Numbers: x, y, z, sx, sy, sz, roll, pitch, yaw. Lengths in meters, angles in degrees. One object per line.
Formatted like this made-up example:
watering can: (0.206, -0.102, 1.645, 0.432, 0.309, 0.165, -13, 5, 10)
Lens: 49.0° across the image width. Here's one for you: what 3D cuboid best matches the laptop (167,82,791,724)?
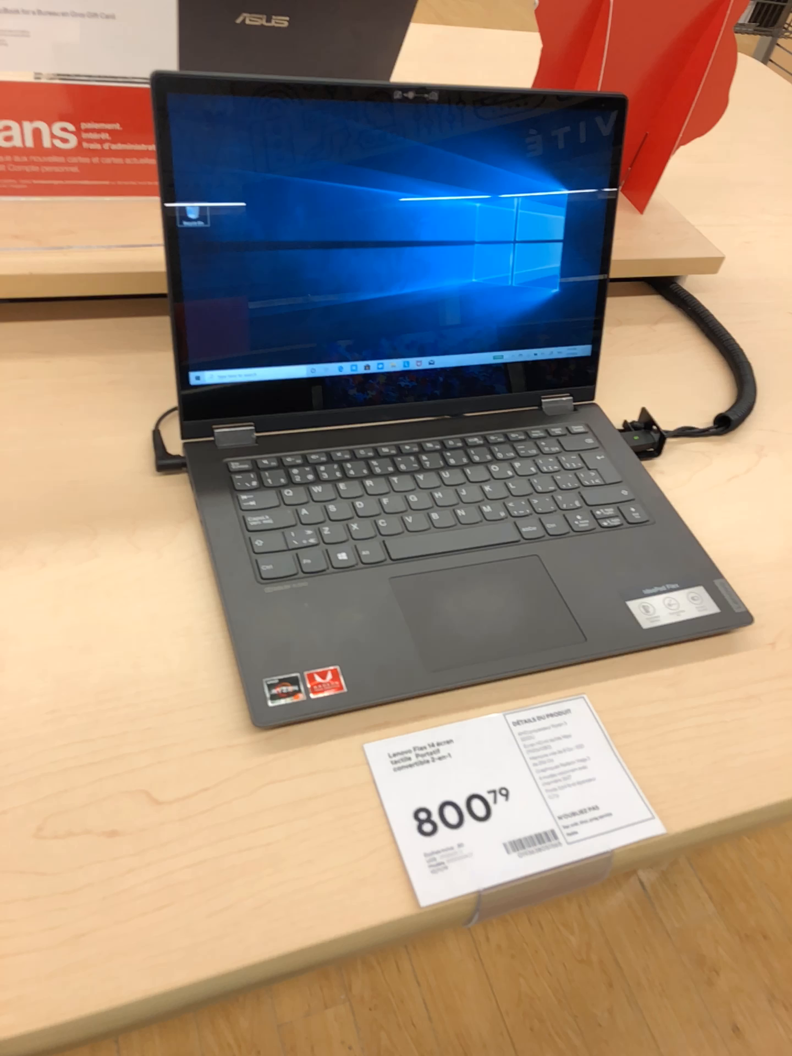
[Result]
laptop: (0.048, -0.098, 0.526, 0.319, 0.199, 0.307, -8, 49, -20)
